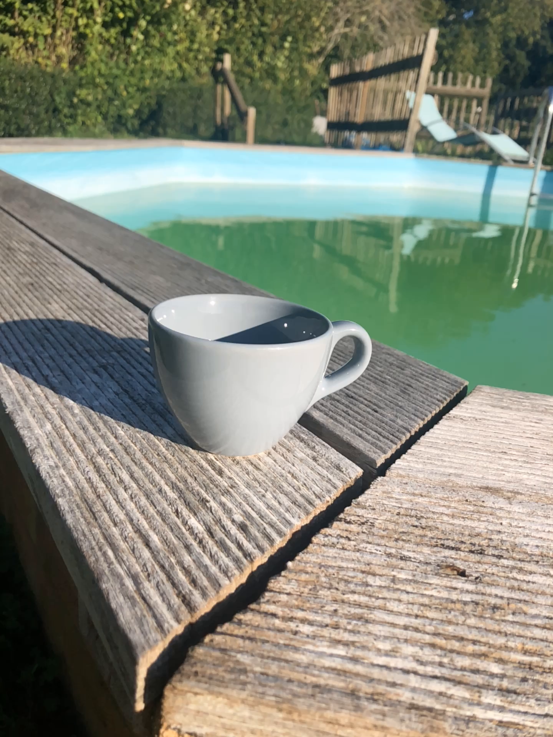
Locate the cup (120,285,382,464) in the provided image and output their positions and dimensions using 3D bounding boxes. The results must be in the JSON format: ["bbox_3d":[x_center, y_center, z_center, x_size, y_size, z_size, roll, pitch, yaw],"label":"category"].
[{"bbox_3d":[-0.014,-0.001,0.296,0.105,0.052,0.091,3,21,-5],"label":"cup"}]
